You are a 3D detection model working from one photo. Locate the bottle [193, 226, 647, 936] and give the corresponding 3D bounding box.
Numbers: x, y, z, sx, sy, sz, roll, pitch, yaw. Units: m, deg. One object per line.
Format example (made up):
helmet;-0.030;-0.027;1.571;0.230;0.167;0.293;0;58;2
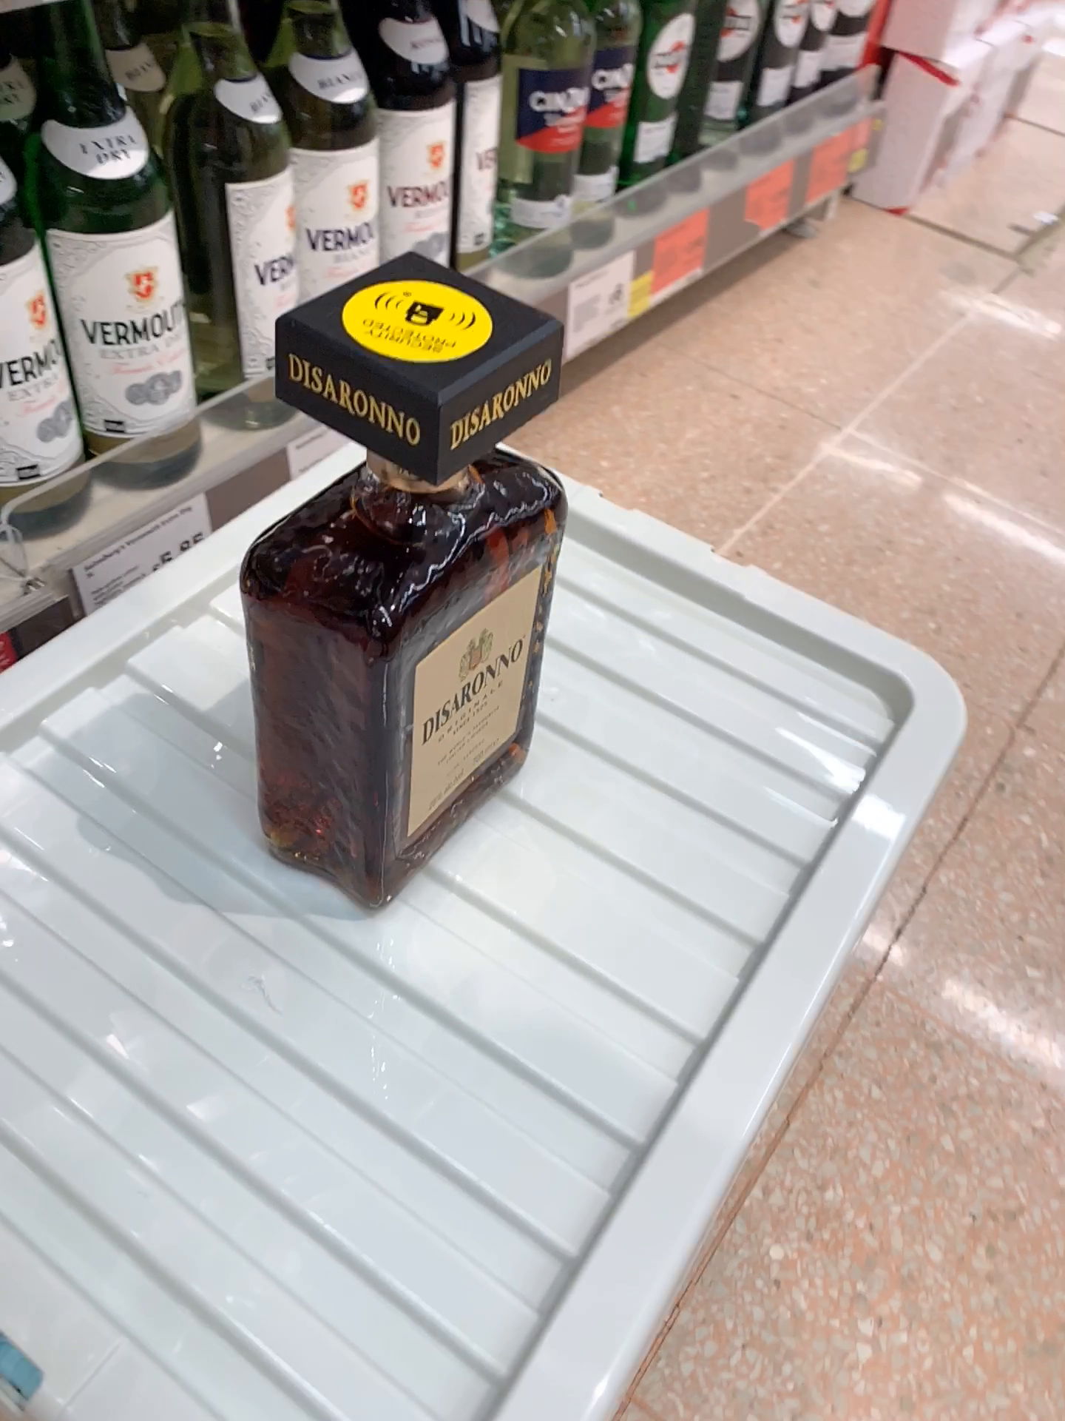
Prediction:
bottle;-0.038;-0.034;0.376;0.070;0.208;0.111;31;51;18
